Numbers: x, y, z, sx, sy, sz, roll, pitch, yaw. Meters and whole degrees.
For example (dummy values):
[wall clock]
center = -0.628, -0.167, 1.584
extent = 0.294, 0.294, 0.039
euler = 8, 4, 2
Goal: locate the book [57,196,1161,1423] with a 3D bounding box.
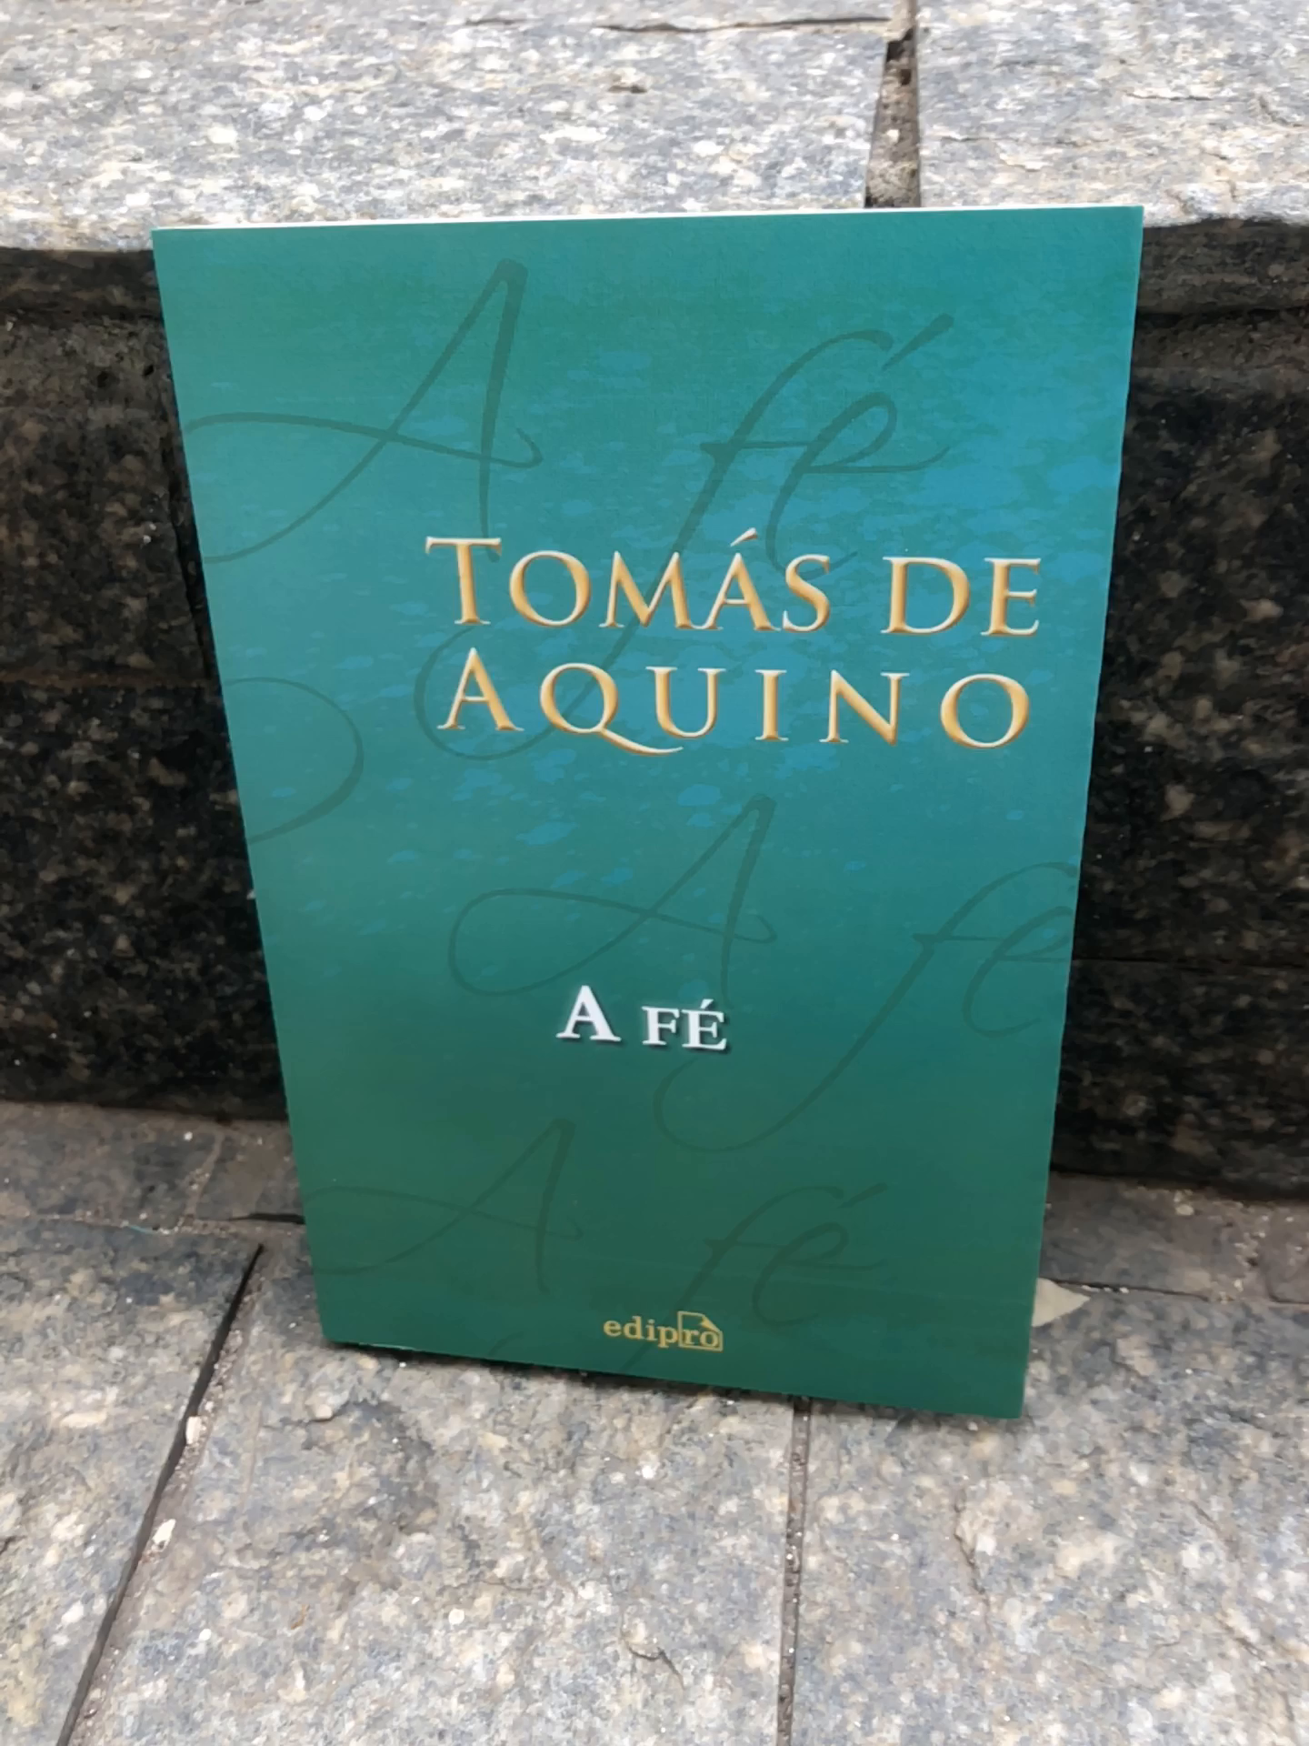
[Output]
[book]
center = -0.007, 0.000, 0.238
extent = 0.142, 0.199, 0.020
euler = 4, 26, 9
